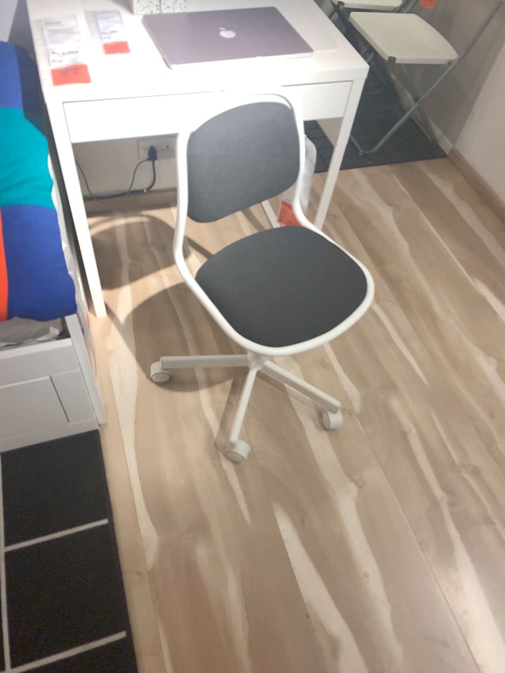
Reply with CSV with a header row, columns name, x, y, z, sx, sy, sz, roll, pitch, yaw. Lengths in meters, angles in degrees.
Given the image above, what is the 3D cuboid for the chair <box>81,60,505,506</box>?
name,x,y,z,sx,sy,sz,roll,pitch,yaw
chair,0.069,-0.118,1.171,0.571,0.628,0.591,-30,62,-24
